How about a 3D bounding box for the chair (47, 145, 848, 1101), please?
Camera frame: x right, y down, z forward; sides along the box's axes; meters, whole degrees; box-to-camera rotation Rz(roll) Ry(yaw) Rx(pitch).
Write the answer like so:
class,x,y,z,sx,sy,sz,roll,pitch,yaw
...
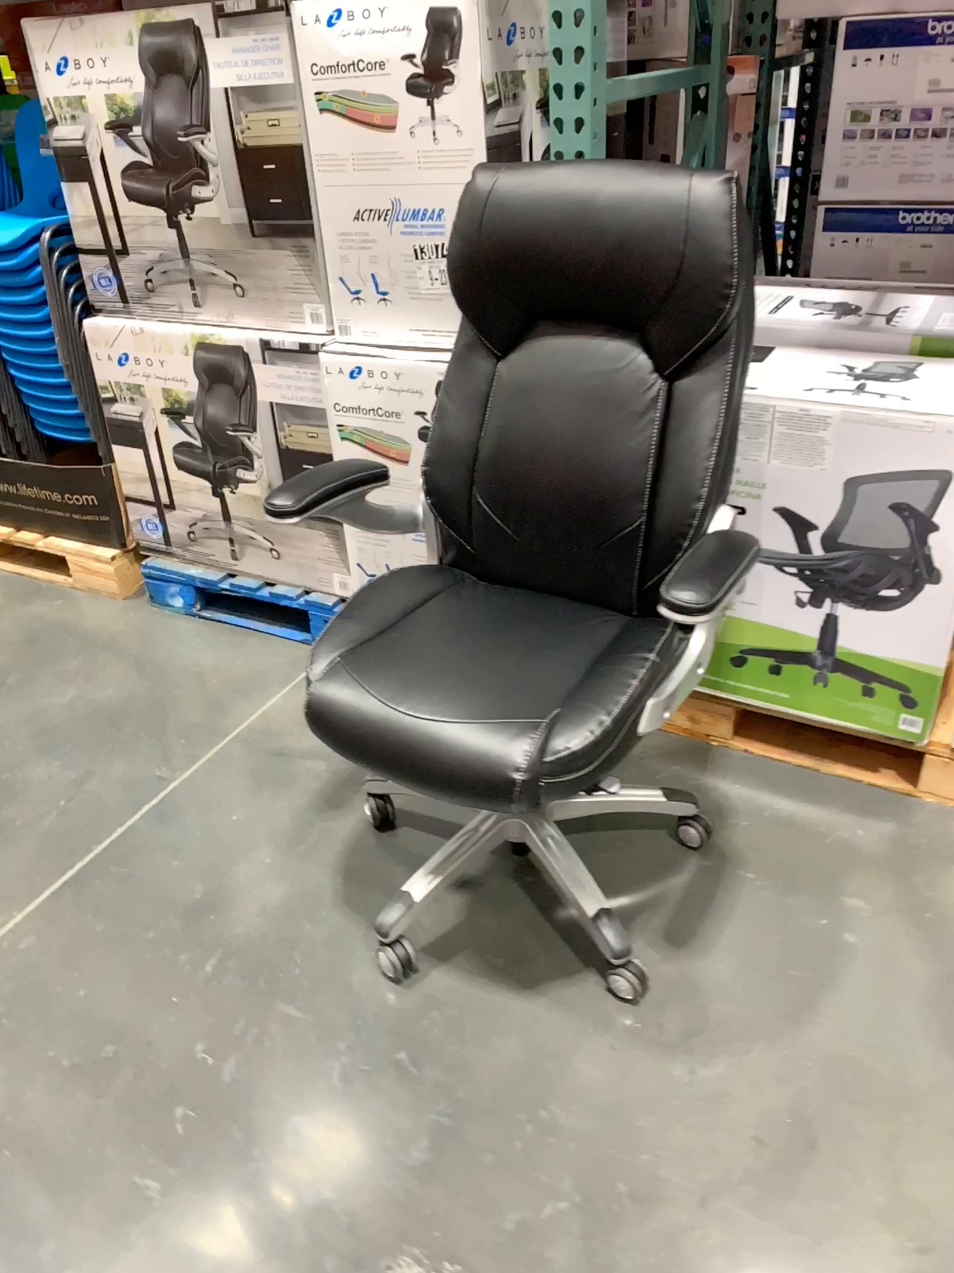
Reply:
class,x,y,z,sx,sy,sz,roll,pitch,yaw
chair,0.025,-0.087,1.493,0.730,1.128,0.706,15,36,29
